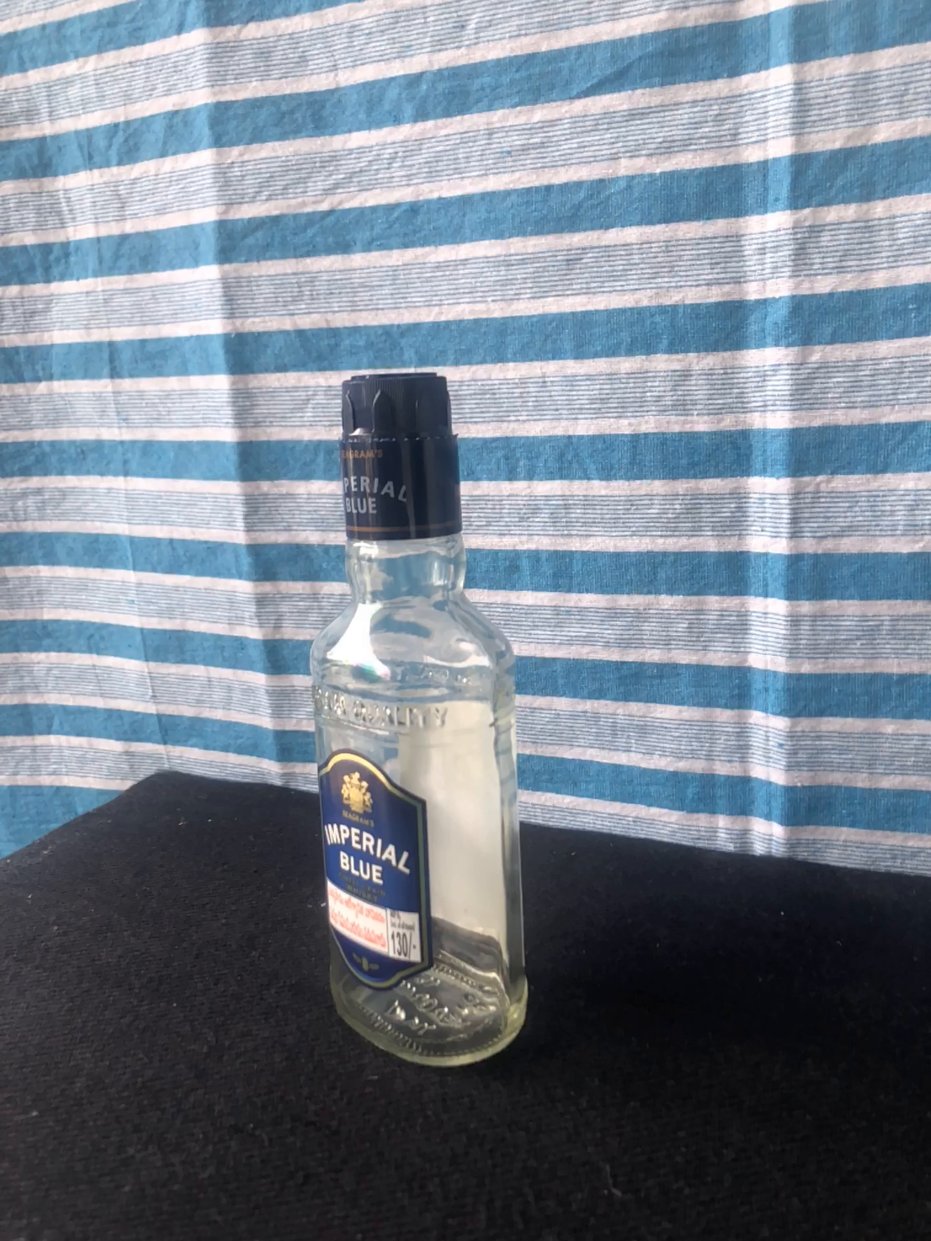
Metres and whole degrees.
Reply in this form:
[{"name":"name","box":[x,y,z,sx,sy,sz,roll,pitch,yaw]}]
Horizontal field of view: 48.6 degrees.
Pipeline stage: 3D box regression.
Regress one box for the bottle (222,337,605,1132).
[{"name":"bottle","box":[-0.010,0.021,0.249,0.070,0.169,0.050,11,19,41]}]
